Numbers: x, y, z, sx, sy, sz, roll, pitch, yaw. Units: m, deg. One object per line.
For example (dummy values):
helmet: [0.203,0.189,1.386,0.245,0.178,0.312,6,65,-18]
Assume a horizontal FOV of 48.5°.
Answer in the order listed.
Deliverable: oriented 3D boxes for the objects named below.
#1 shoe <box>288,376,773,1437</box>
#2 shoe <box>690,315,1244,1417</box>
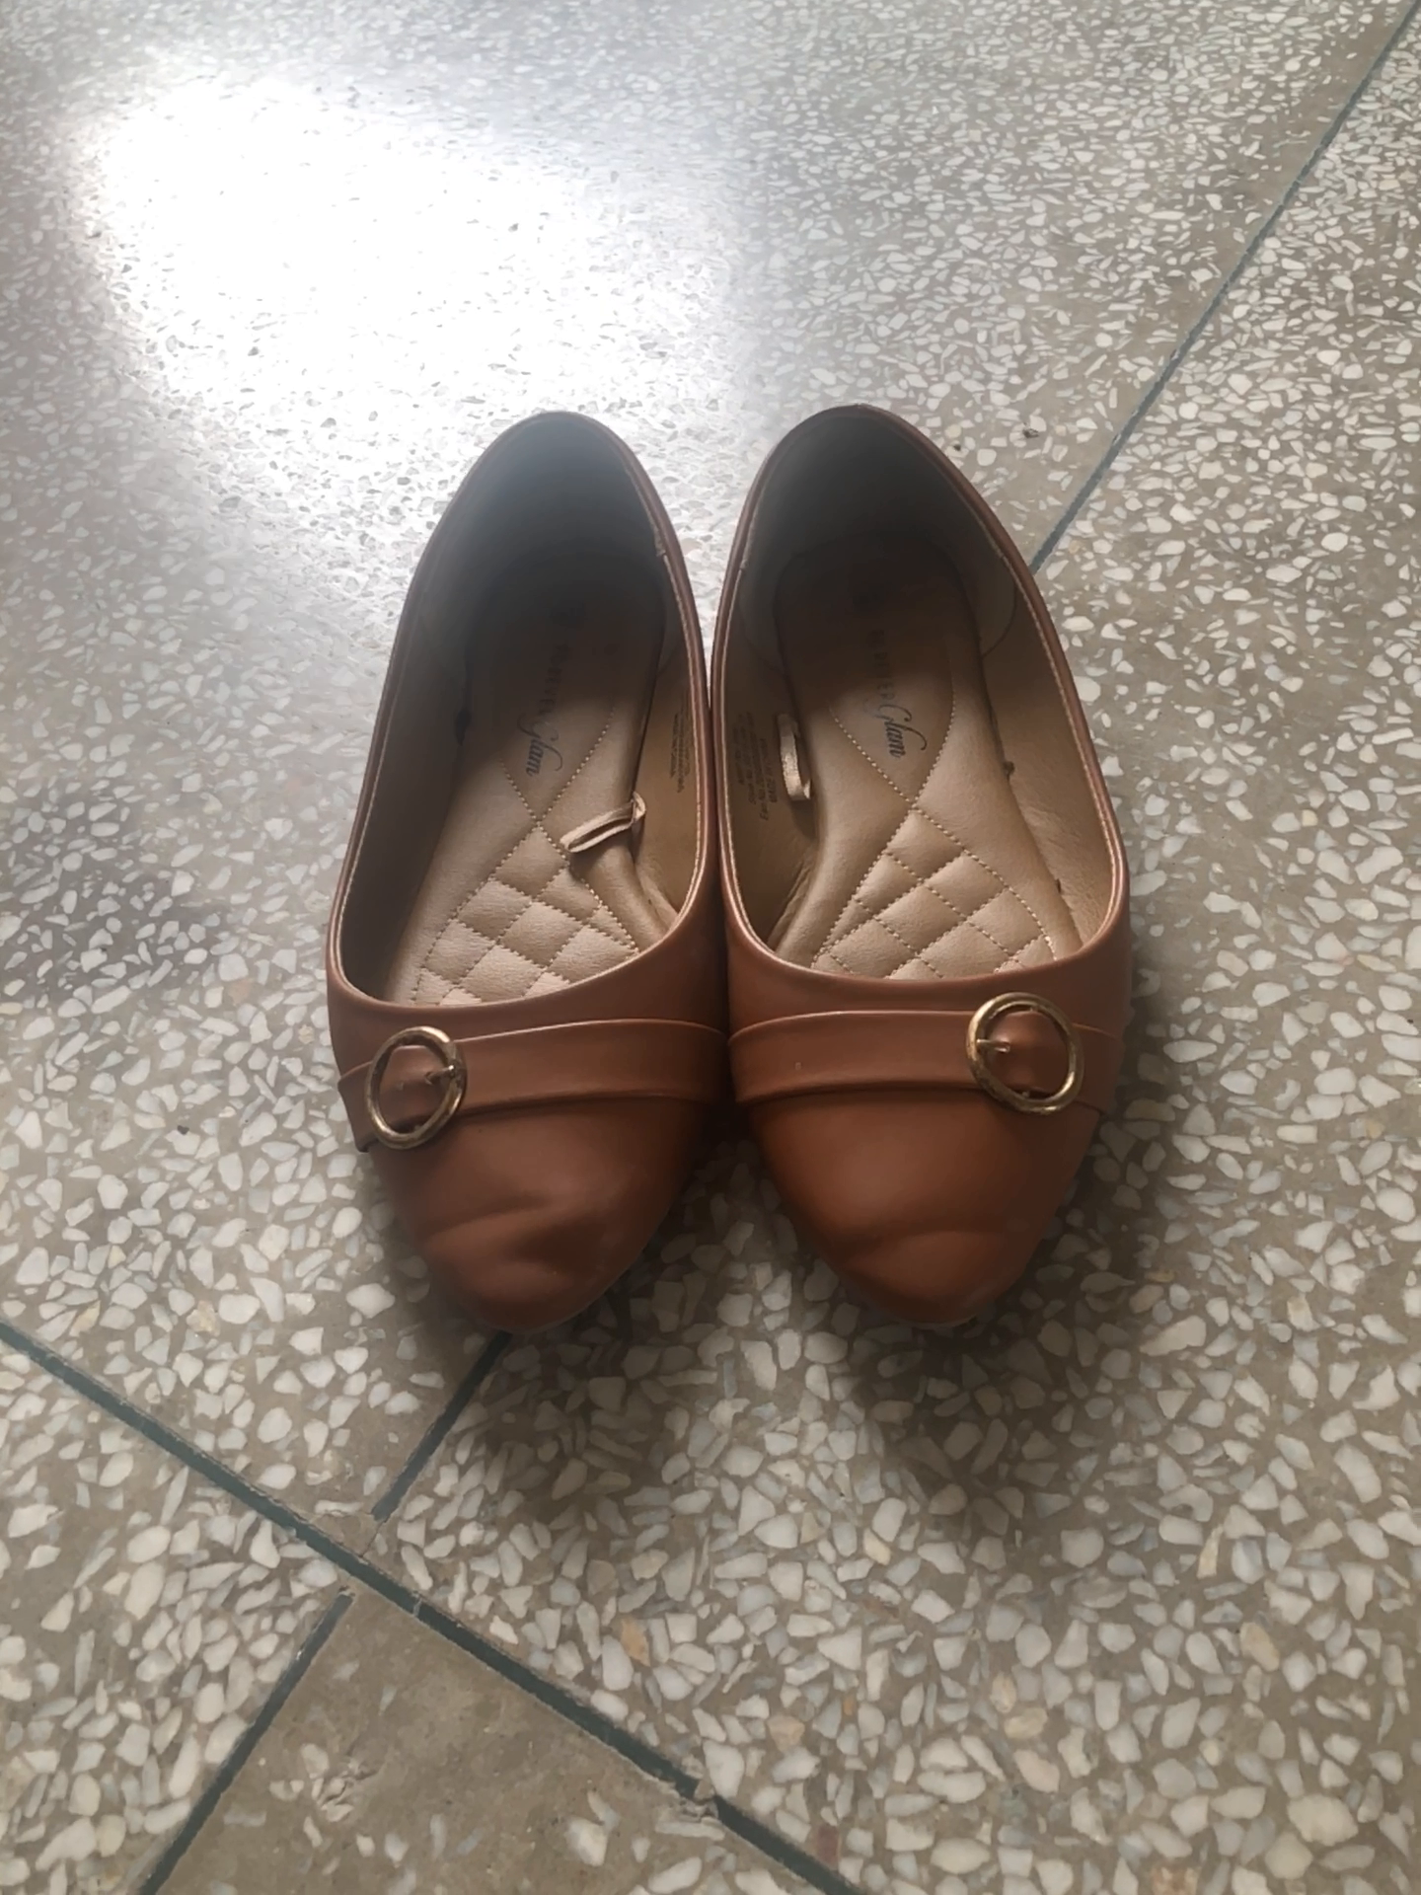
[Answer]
shoe: [-0.042,-0.018,0.383,0.090,0.050,0.251,-8,65,9]
shoe: [0.051,-0.027,0.367,0.090,0.050,0.251,-8,65,9]
